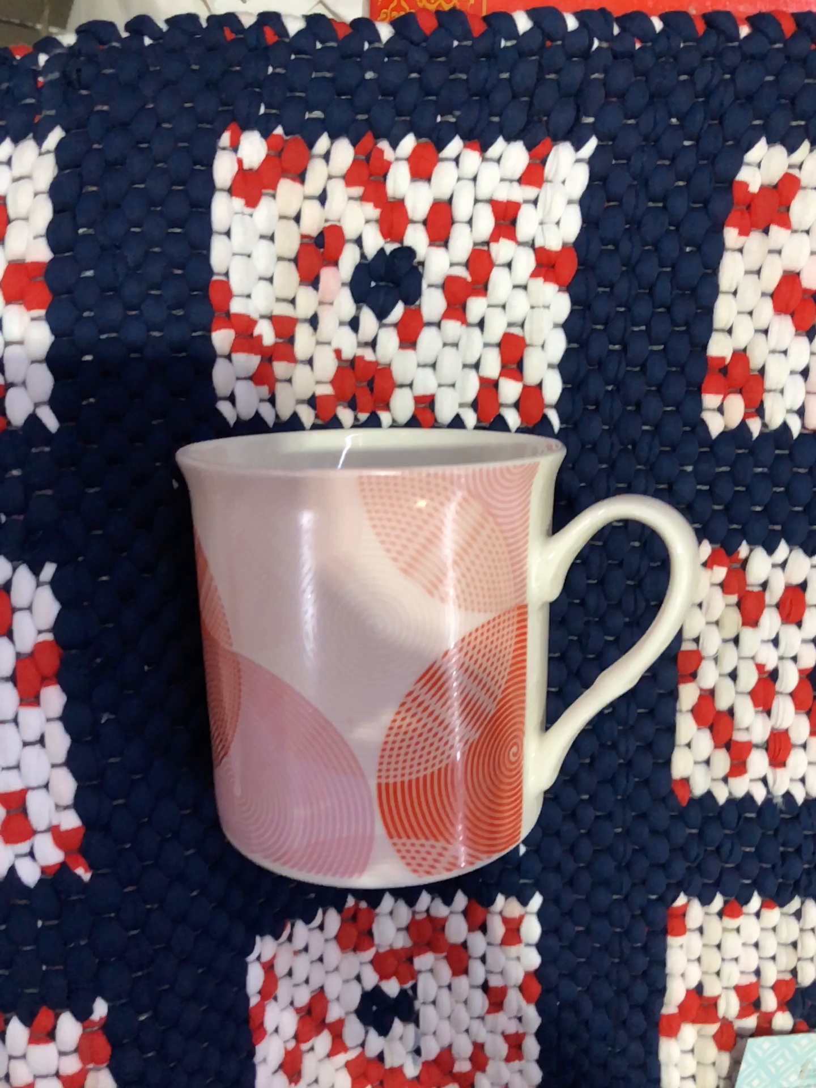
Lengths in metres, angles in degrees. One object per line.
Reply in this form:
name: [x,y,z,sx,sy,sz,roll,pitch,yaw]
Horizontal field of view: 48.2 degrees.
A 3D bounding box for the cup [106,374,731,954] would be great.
cup: [0.013,0.015,0.220,0.120,0.100,0.100,1,98,20]
